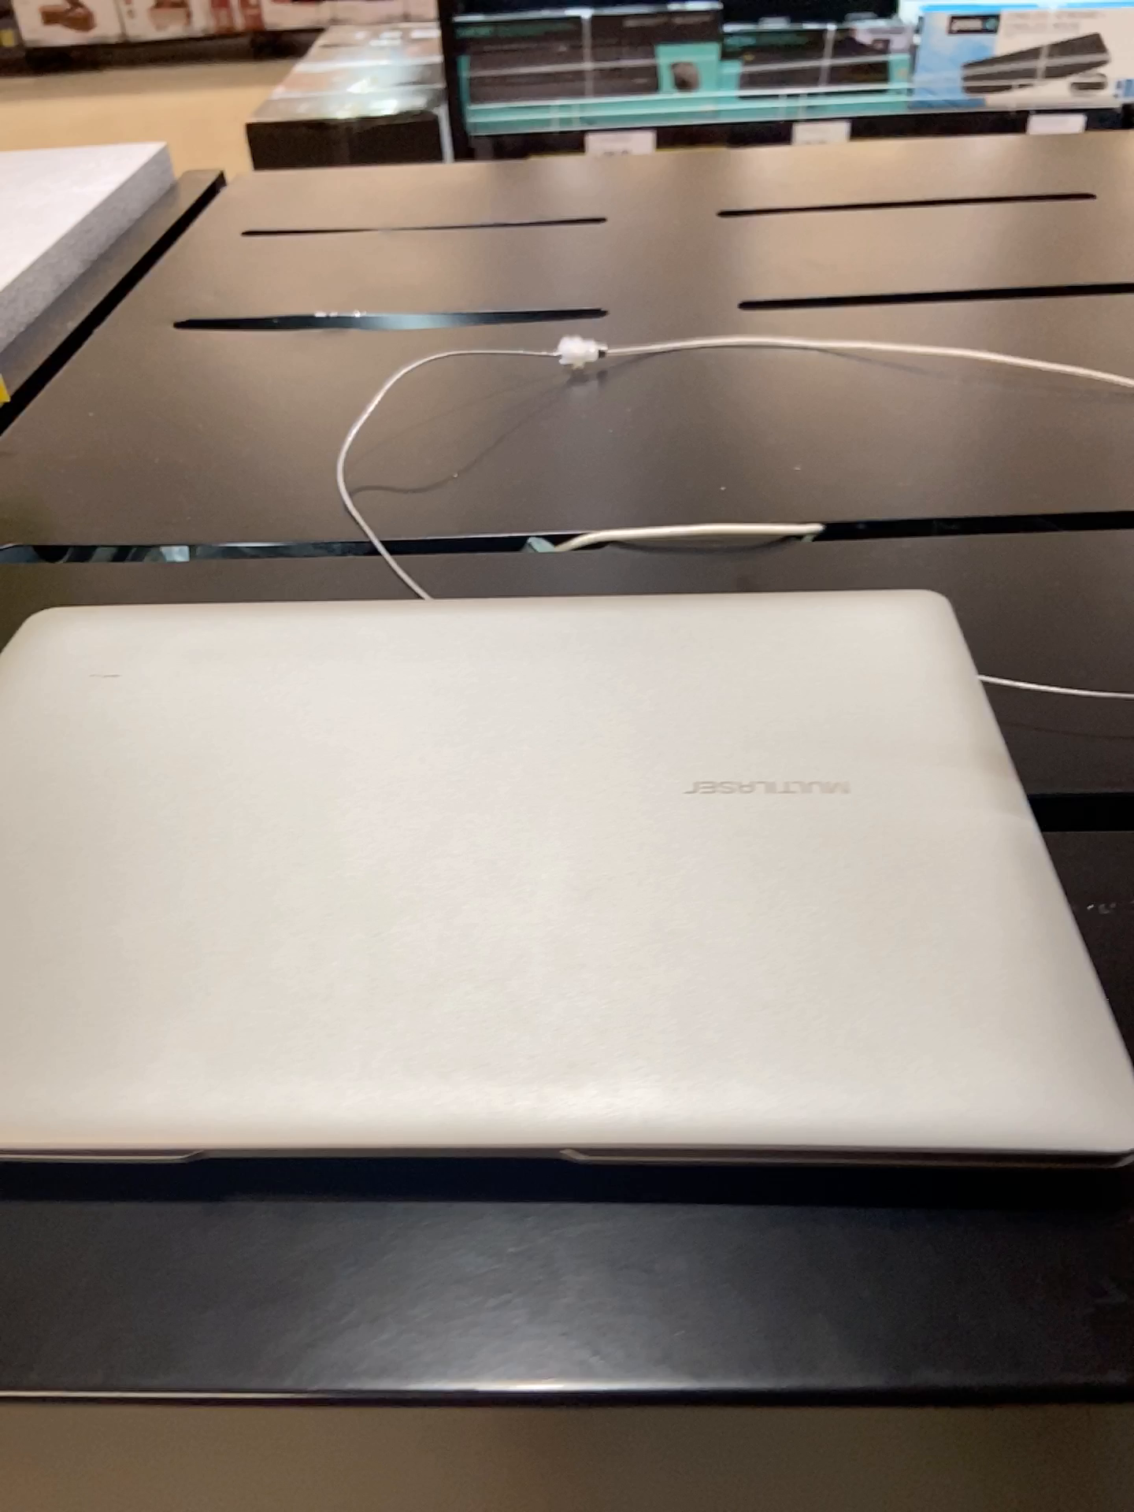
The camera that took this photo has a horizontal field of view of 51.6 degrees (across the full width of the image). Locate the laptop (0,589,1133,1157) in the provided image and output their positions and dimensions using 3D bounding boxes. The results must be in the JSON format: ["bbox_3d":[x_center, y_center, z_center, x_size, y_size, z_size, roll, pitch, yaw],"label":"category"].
[{"bbox_3d":[-0.037,0.016,0.324,0.314,0.003,0.206,-1,41,4],"label":"laptop"}]
